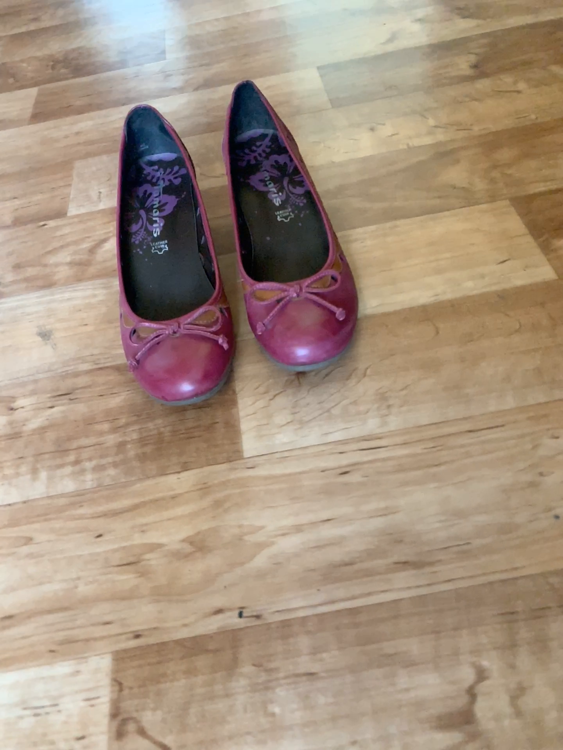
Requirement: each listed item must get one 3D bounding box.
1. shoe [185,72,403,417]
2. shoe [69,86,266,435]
[{"bbox_3d":[0.002,-0.106,0.424,0.090,0.110,0.241,-15,51,-2],"label":"shoe"},{"bbox_3d":[-0.084,-0.094,0.422,0.090,0.110,0.241,-13,51,-1],"label":"shoe"}]
